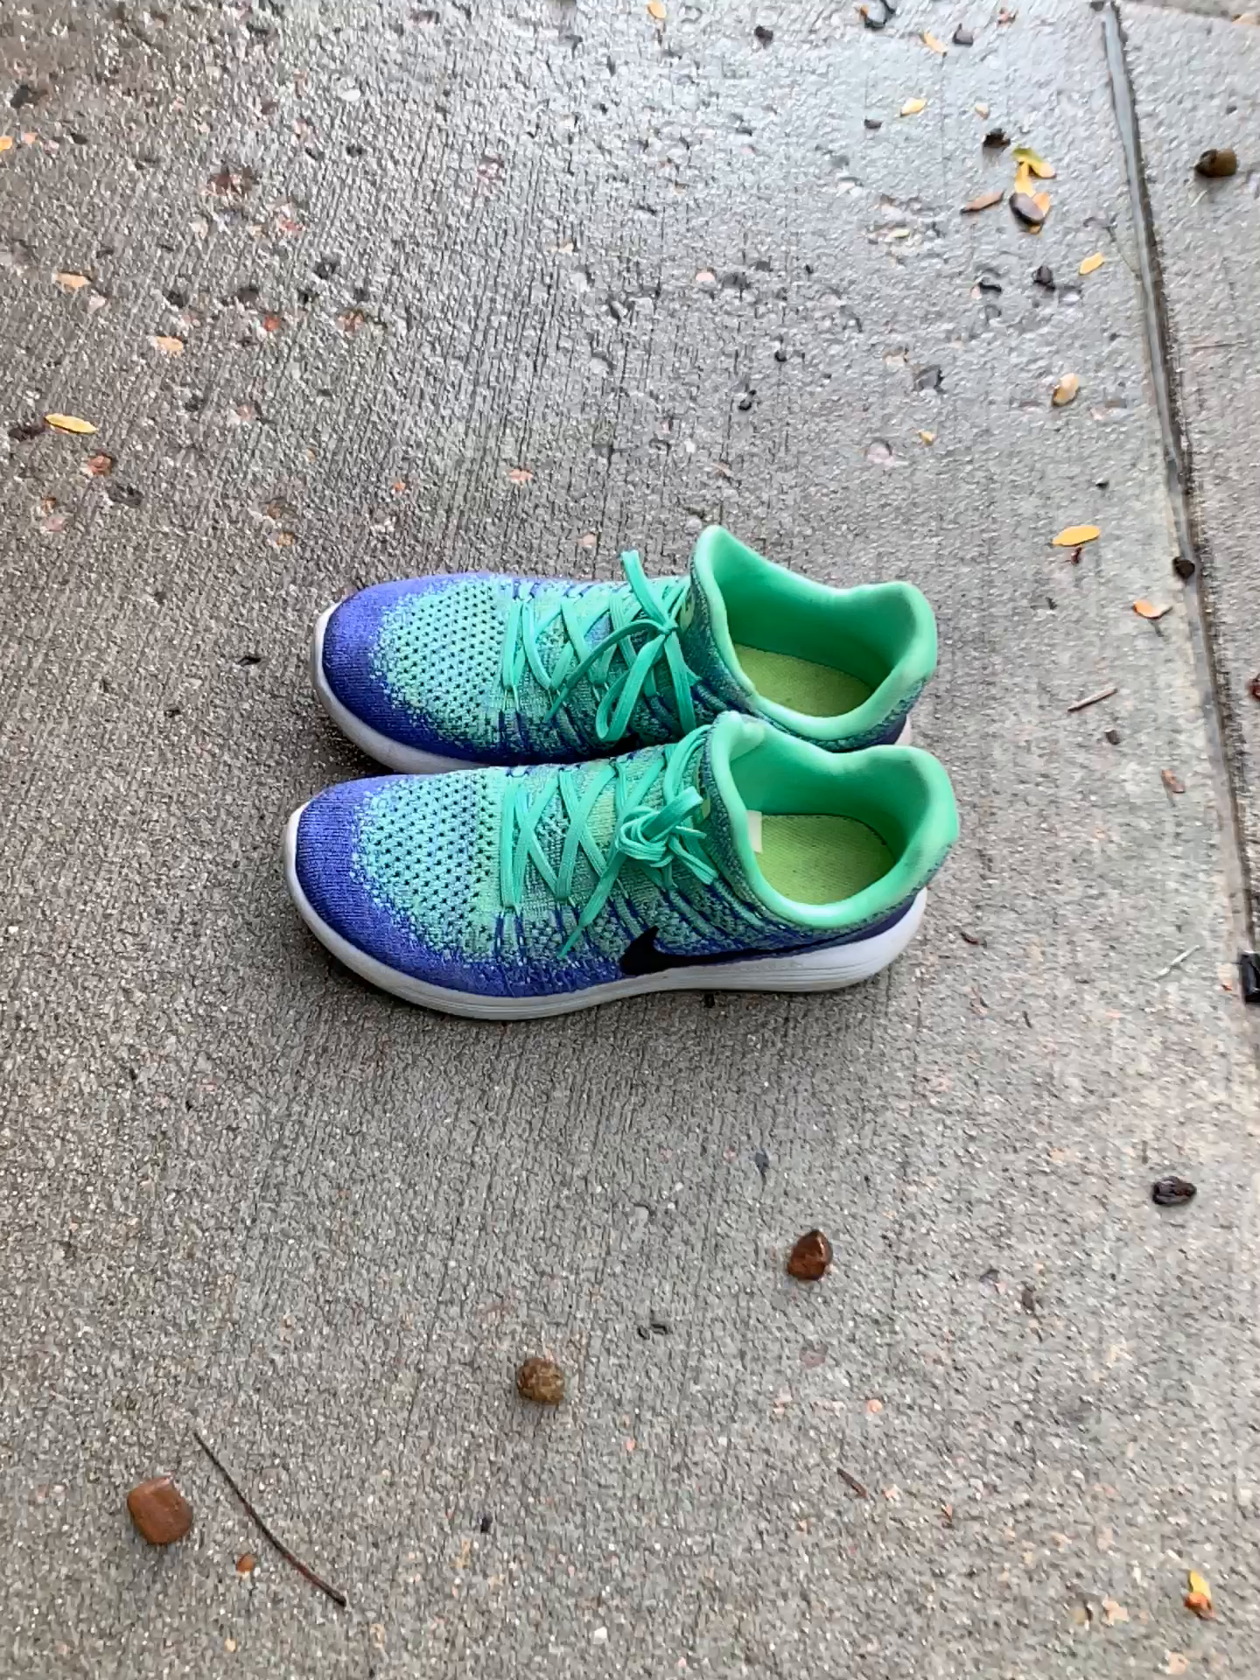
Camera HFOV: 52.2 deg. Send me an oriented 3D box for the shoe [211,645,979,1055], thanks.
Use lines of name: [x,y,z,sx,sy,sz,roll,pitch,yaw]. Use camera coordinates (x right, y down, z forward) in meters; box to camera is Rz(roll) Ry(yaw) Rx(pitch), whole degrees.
shoe: [-0.011,0.008,0.561,0.290,0.110,0.120,5,64,-1]

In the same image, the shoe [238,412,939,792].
shoe: [-0.014,-0.099,0.563,0.270,0.110,0.100,5,69,-1]
